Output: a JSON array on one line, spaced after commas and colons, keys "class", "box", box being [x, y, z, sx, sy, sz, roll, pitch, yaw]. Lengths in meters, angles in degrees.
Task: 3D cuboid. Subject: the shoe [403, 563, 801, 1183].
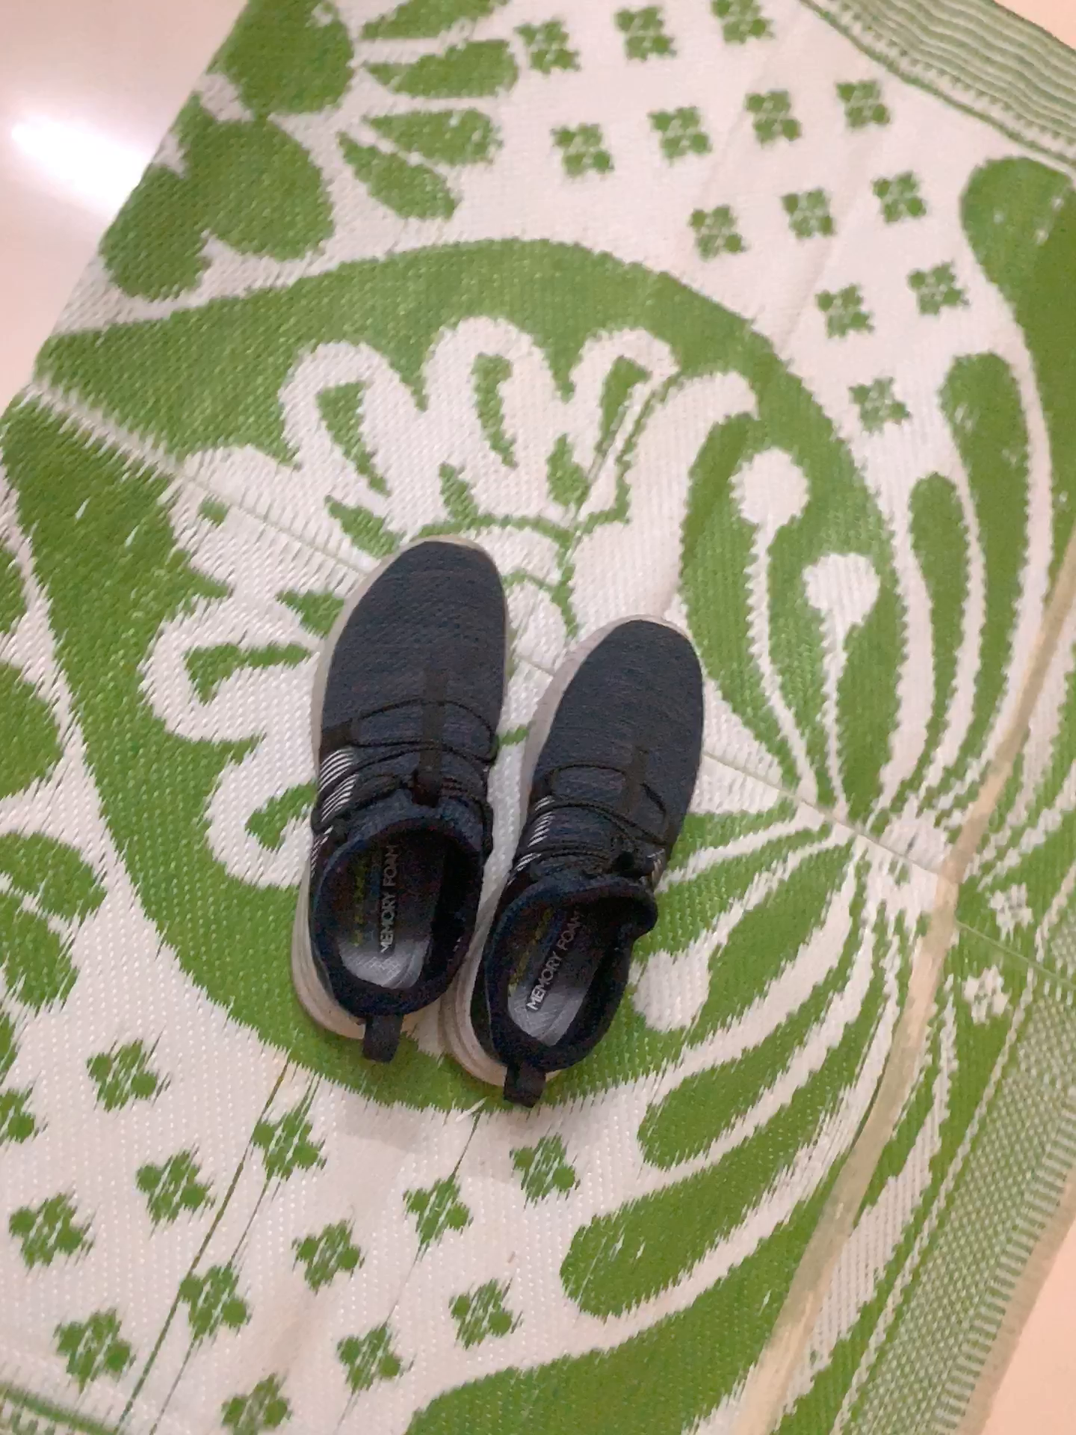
[{"class": "shoe", "box": [0.032, 0.080, 0.617, 0.110, 0.100, 0.300, 20, 84, -13]}]

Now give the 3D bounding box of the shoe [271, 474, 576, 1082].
[{"class": "shoe", "box": [-0.065, 0.032, 0.595, 0.110, 0.100, 0.290, 9, 86, -14]}]
